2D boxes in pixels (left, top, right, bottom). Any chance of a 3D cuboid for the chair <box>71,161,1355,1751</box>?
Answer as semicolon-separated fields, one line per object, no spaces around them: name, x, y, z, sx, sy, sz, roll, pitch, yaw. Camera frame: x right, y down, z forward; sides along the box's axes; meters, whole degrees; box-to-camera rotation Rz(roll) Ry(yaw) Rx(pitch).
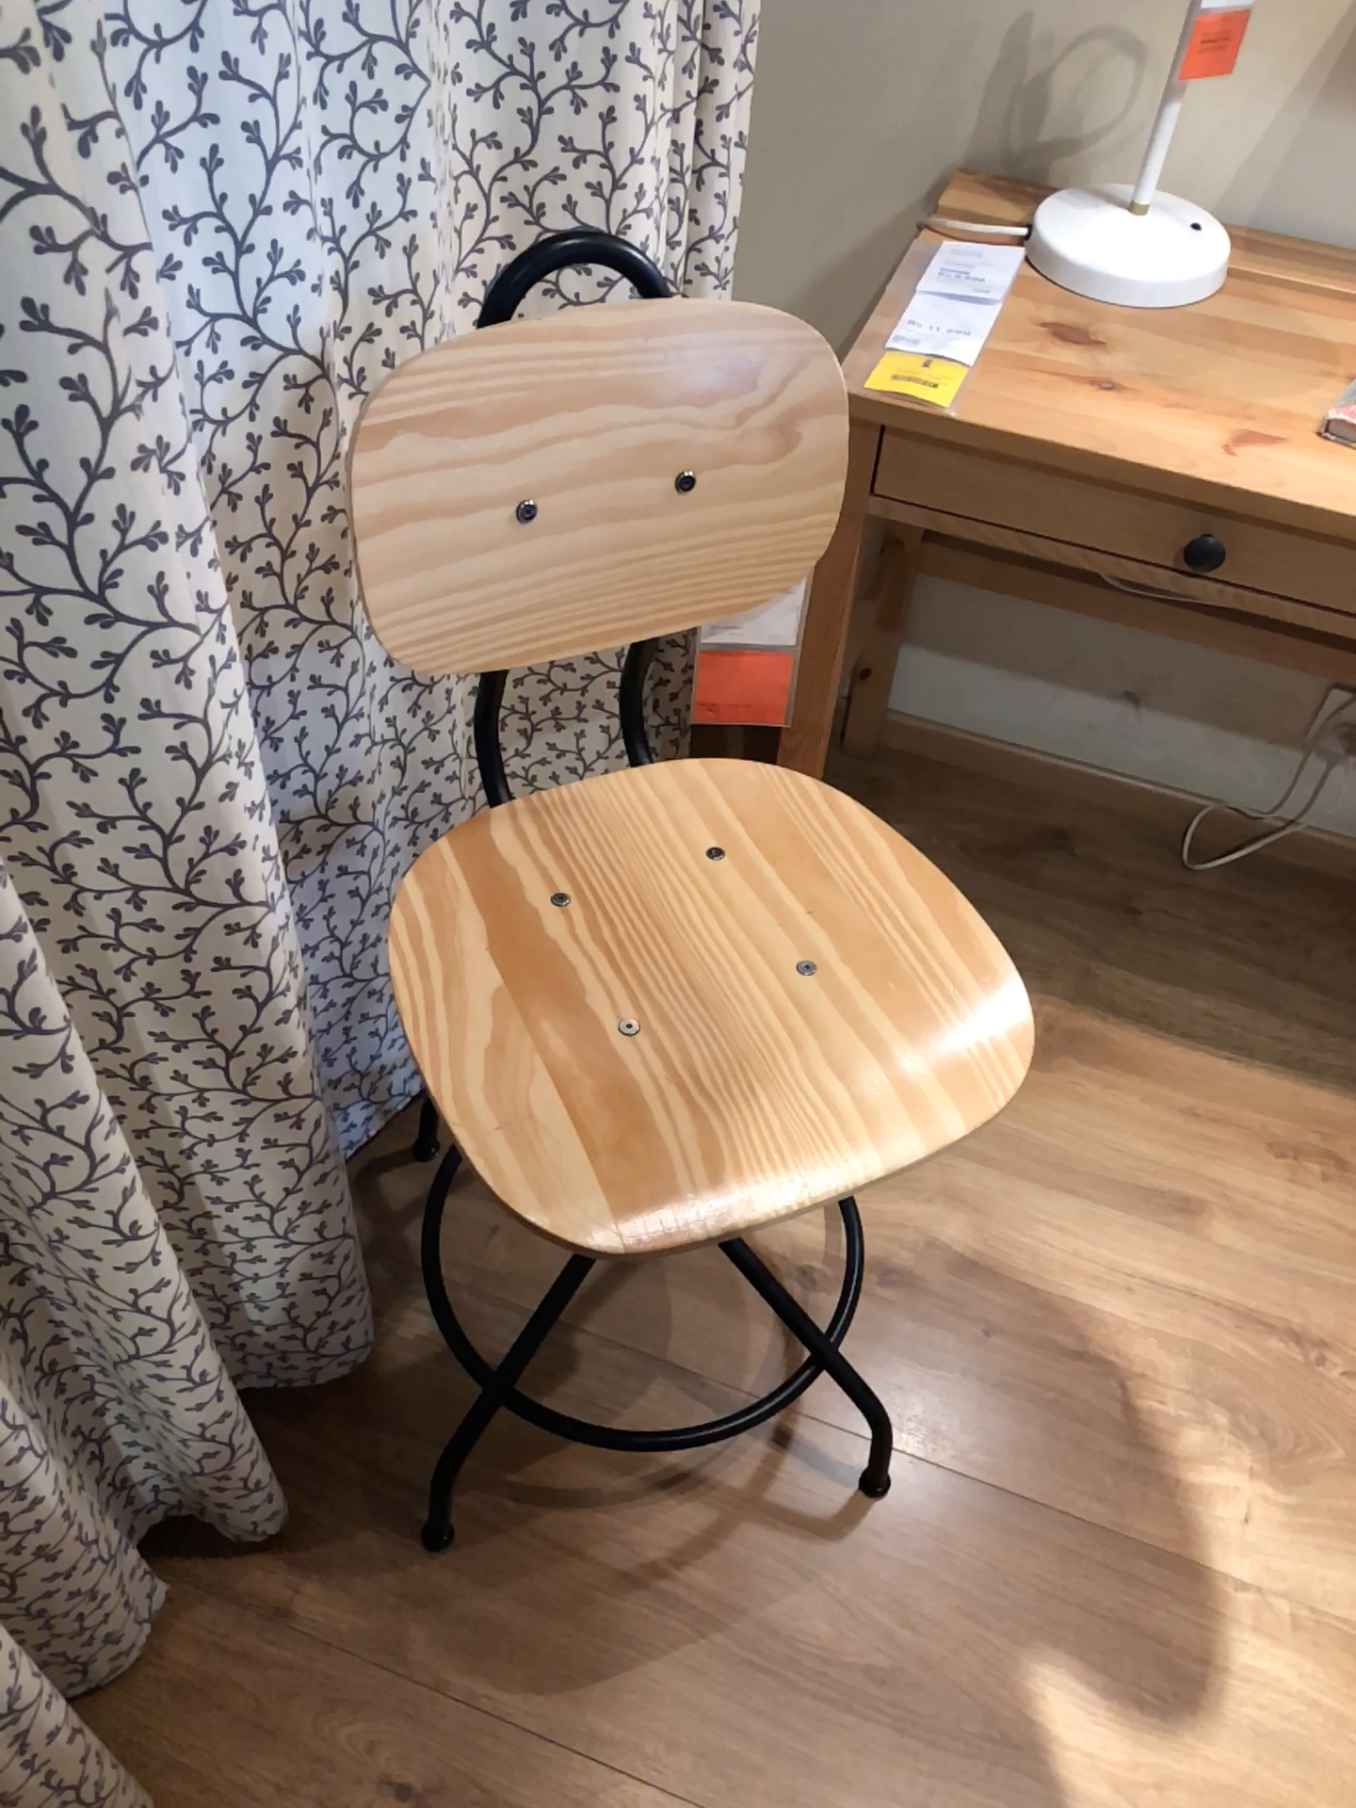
chair;0.014;0.064;1.001;0.521;0.815;0.553;-18;52;-19
